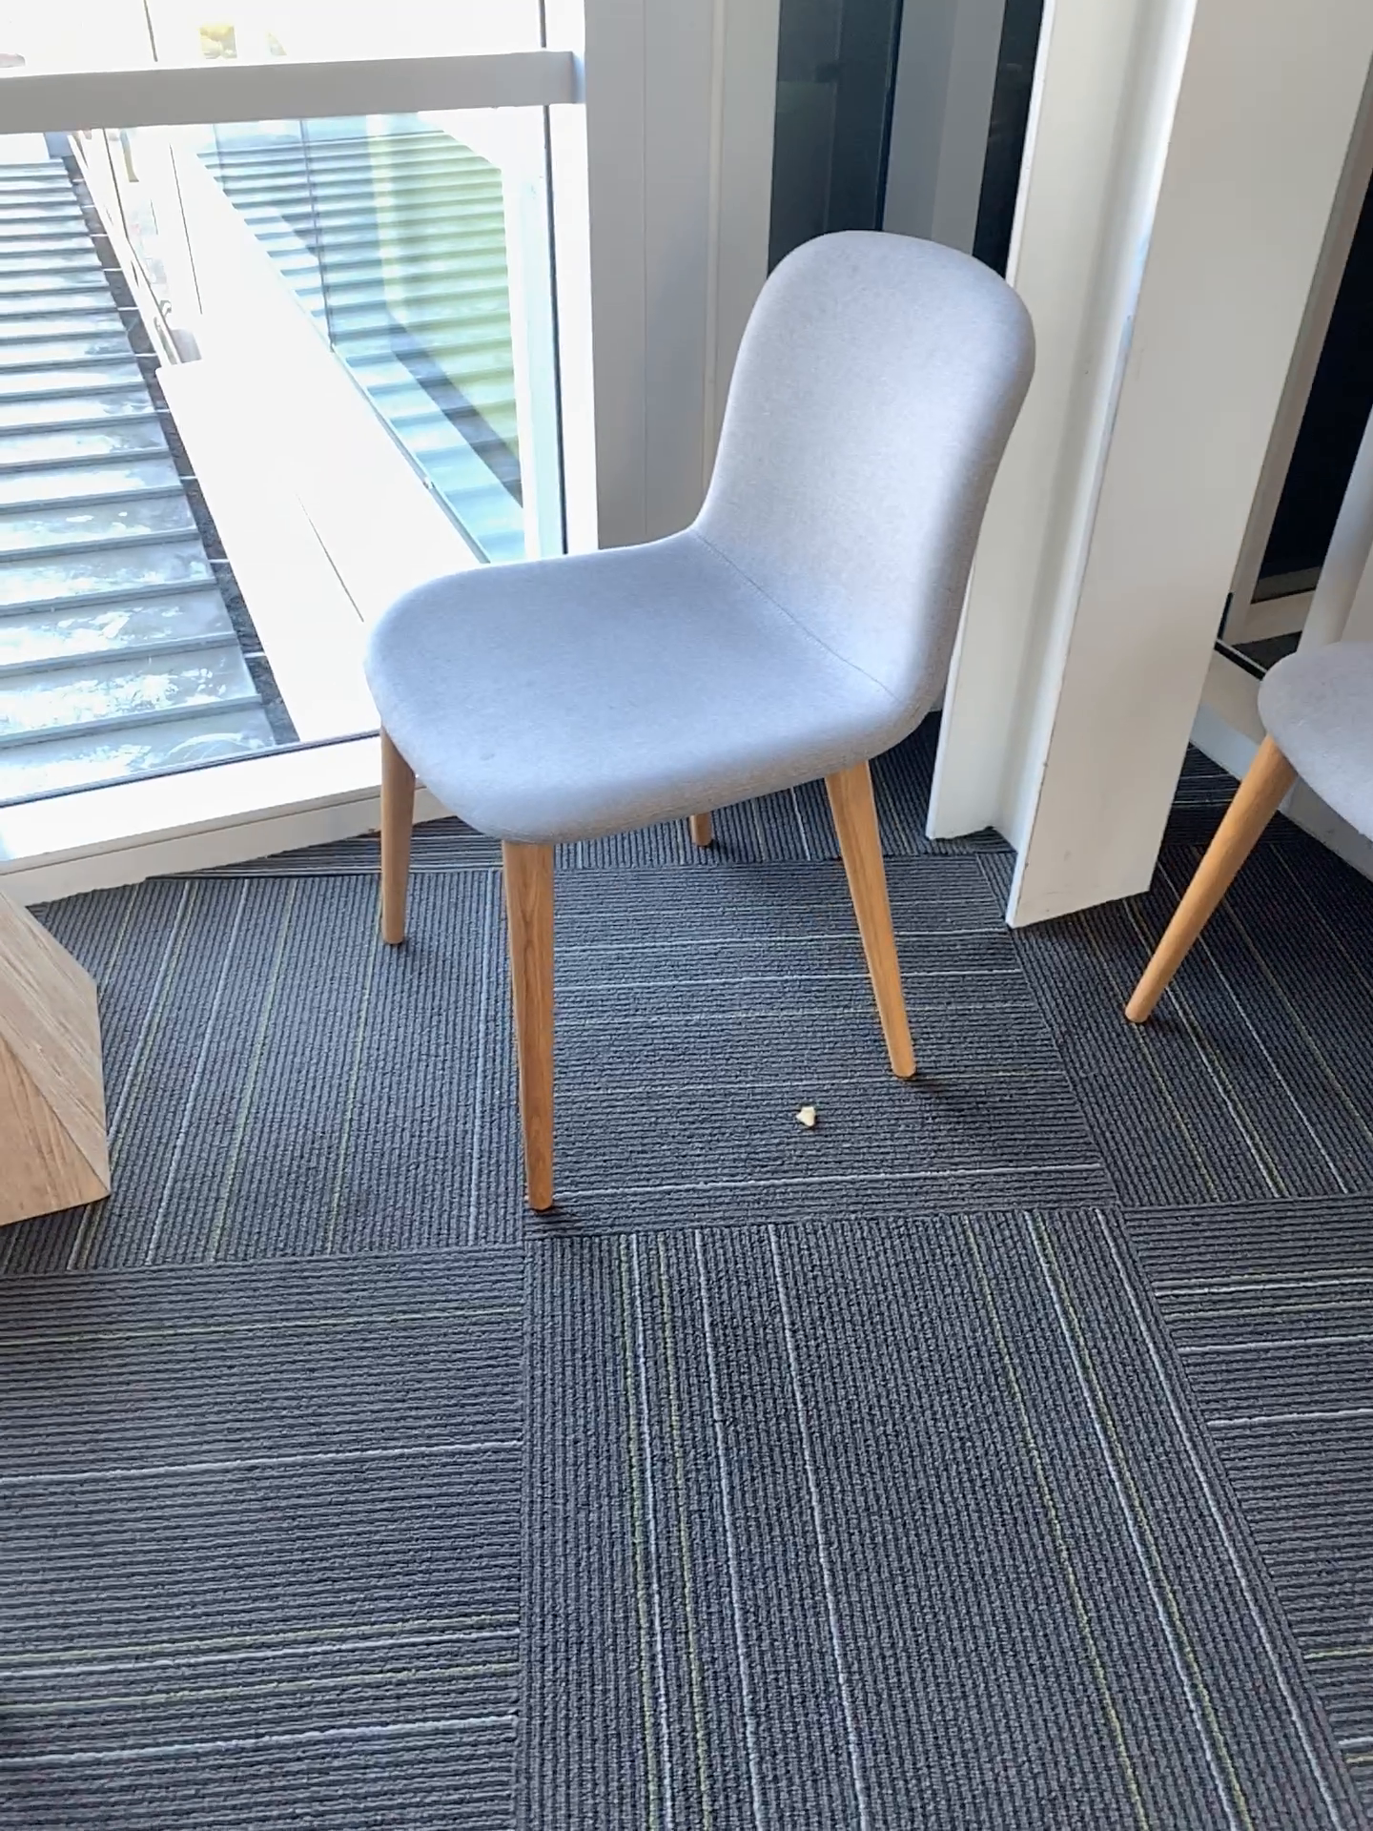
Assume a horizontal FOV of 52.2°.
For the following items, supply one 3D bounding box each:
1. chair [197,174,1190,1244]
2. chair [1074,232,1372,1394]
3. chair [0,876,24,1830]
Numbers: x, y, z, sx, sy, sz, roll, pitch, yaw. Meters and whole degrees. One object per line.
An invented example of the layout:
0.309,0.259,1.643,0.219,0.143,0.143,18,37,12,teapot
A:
-0.041,-0.249,1.398,0.600,0.726,0.654,-17,42,-21,chair
0.825,-0.123,1.242,0.590,0.726,0.563,-16,41,-20,chair
-0.636,0.447,0.523,0.540,0.676,0.473,-13,40,-18,chair
